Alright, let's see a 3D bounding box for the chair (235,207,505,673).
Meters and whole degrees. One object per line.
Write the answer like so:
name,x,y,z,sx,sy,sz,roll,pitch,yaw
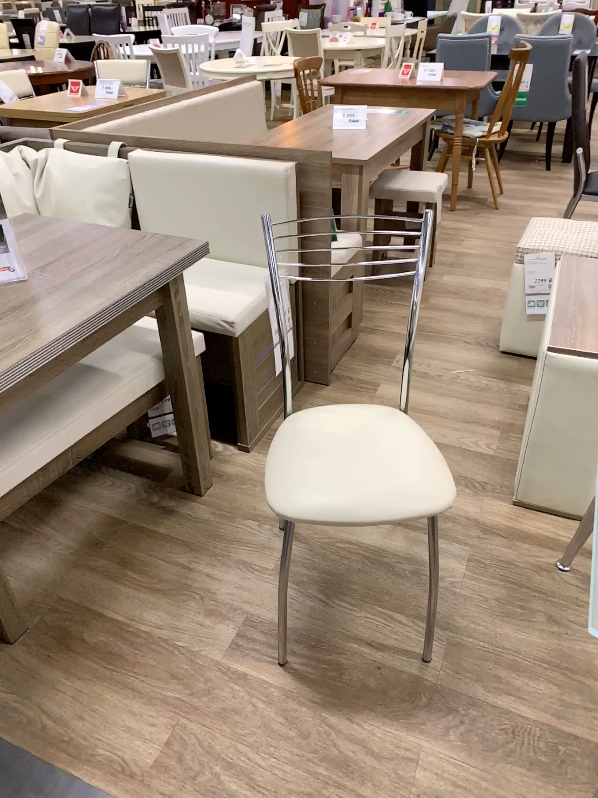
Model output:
chair,0.122,0.122,1.406,0.413,0.967,0.483,-1,34,1
